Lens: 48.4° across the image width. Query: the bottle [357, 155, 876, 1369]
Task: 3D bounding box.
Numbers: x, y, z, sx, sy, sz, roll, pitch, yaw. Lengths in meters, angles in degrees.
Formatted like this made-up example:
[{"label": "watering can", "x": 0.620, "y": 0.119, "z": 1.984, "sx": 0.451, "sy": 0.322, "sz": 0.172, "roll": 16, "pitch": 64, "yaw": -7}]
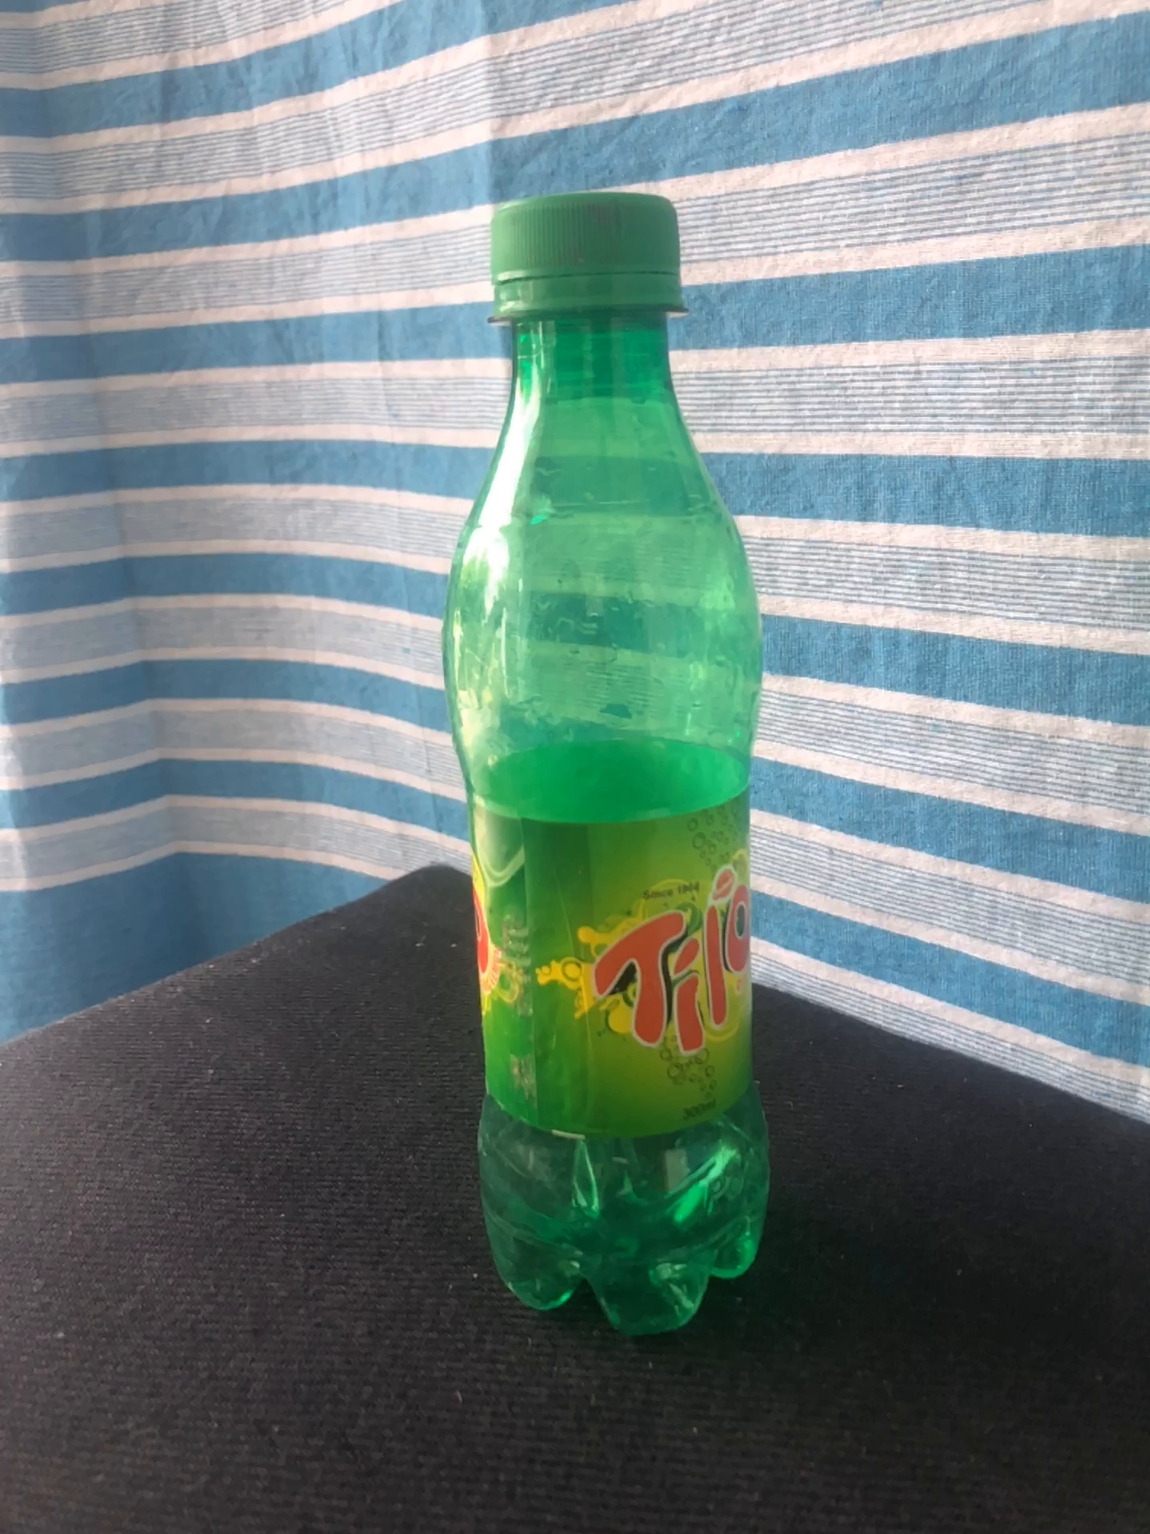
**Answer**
[{"label": "bottle", "x": 0.004, "y": 0.001, "z": 0.236, "sx": 0.070, "sy": 0.199, "sz": 0.070, "roll": -1, "pitch": 19, "yaw": 0}]
